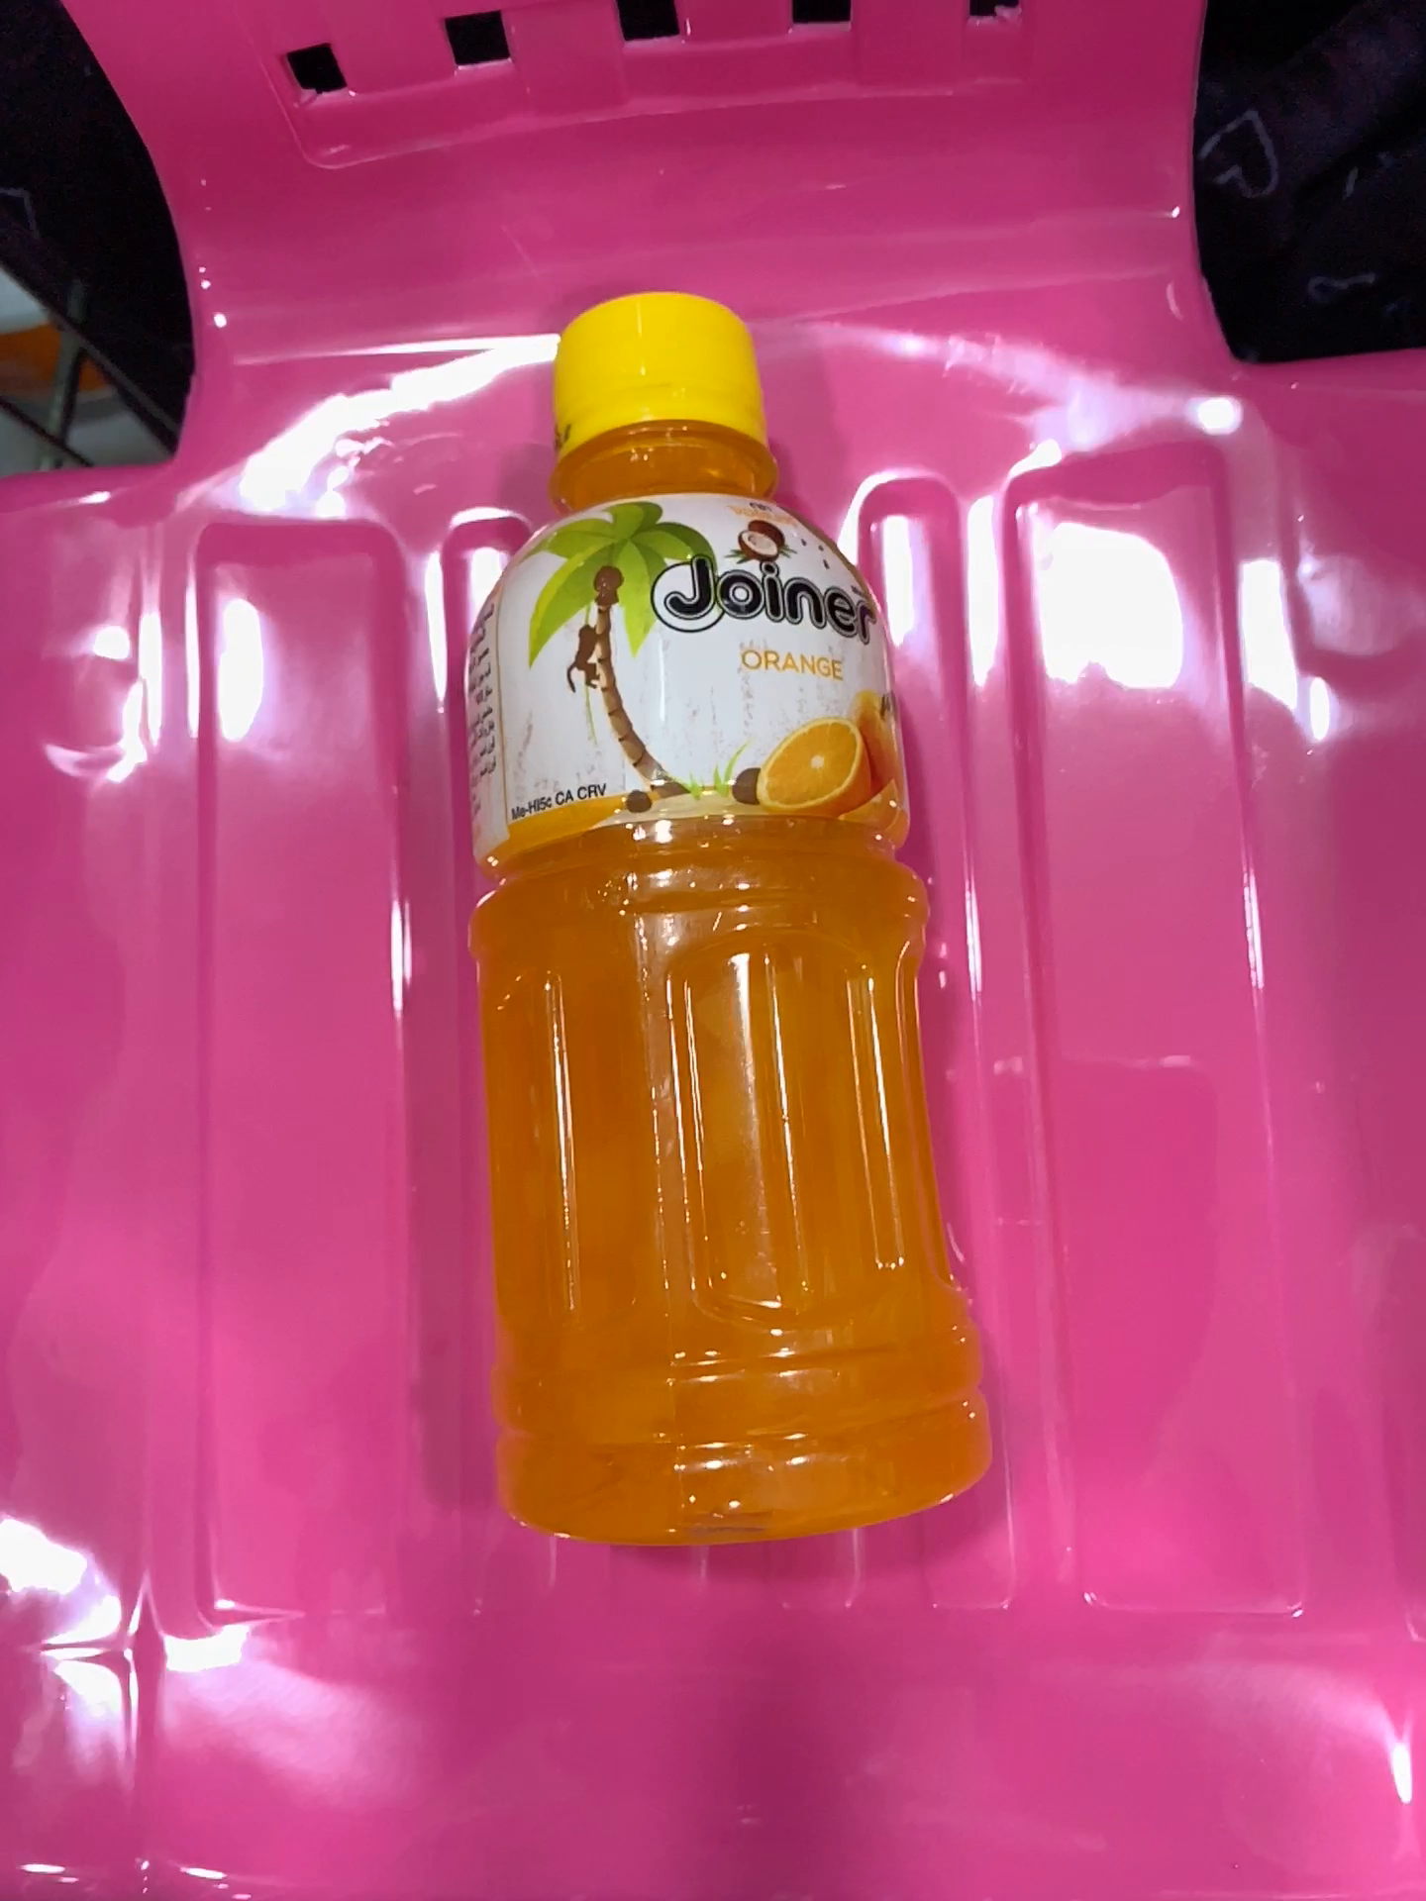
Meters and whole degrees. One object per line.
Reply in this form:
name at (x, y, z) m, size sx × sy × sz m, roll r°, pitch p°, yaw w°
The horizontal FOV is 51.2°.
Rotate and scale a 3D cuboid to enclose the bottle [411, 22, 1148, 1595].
bottle at (0.002, -0.017, 0.197) m, size 0.070 × 0.060 × 0.170 m, roll -2°, pitch 85°, yaw -16°
